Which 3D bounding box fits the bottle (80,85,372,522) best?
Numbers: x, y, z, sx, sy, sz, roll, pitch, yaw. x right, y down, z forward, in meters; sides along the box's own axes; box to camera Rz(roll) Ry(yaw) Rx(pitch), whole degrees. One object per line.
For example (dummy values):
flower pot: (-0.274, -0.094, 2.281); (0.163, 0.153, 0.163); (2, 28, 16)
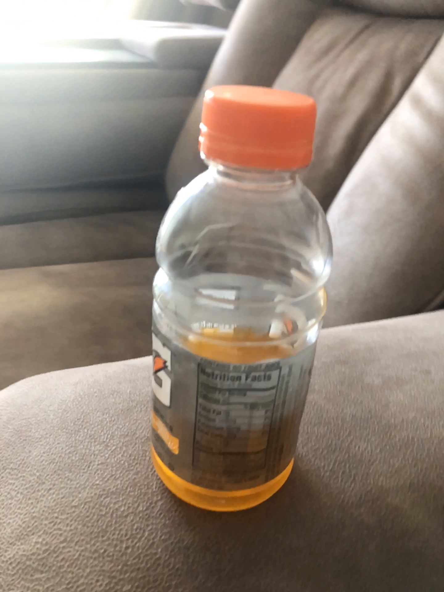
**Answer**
bottle: (0.000, 0.007, 0.187); (0.070, 0.149, 0.070); (1, 31, -1)
